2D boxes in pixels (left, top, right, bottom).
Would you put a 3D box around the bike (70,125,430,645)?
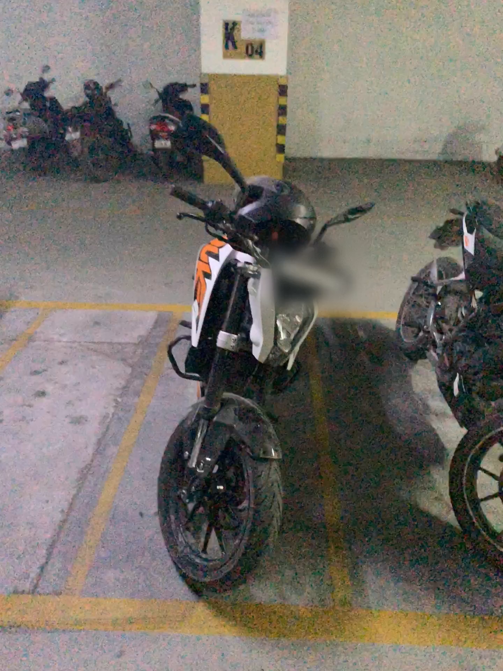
[{"bbox_3d":[0.025,-0.043,2.215,0.802,1.181,1.923,2,33,1],"label":"bike"}]
